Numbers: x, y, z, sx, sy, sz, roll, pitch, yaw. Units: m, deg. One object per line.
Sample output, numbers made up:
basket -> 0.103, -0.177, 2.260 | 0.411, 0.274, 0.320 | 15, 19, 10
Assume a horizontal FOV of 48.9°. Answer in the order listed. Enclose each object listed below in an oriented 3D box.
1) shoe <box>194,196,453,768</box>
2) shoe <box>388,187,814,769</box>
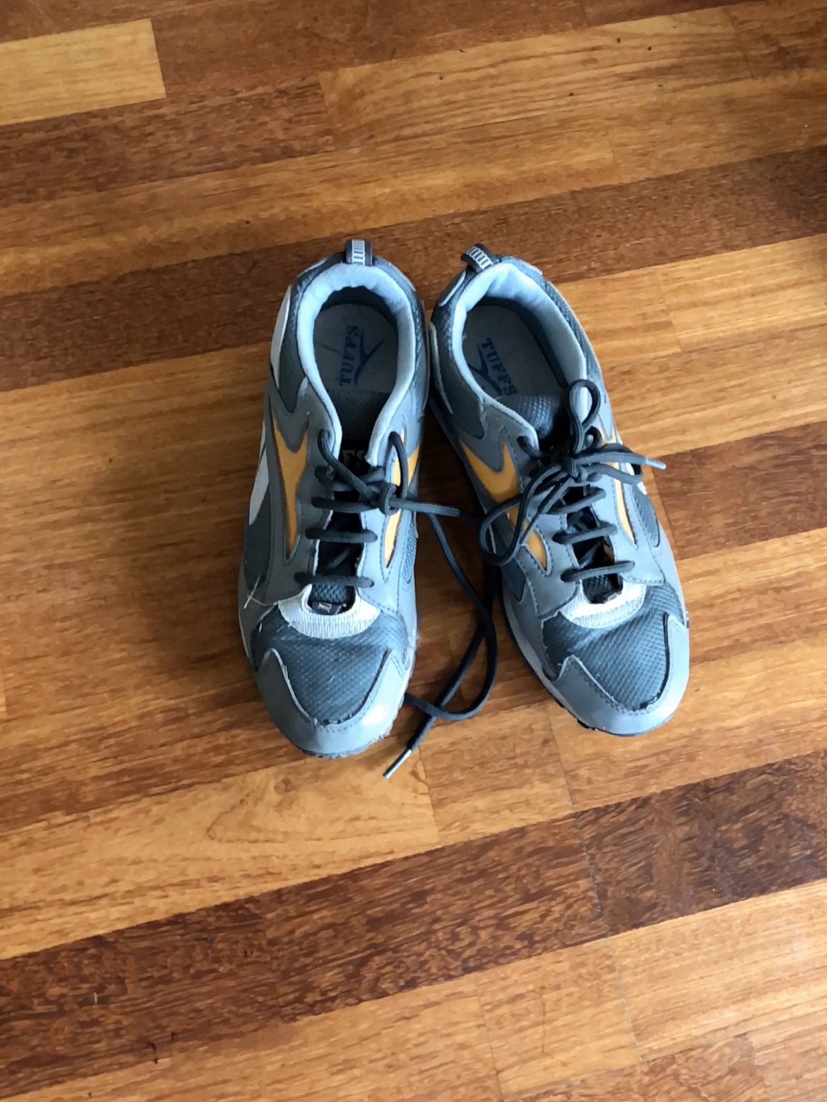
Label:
shoe -> -0.042, -0.033, 0.481 | 0.110, 0.088, 0.283 | 3, 75, -5
shoe -> 0.087, -0.039, 0.500 | 0.112, 0.099, 0.284 | -17, 76, -10
